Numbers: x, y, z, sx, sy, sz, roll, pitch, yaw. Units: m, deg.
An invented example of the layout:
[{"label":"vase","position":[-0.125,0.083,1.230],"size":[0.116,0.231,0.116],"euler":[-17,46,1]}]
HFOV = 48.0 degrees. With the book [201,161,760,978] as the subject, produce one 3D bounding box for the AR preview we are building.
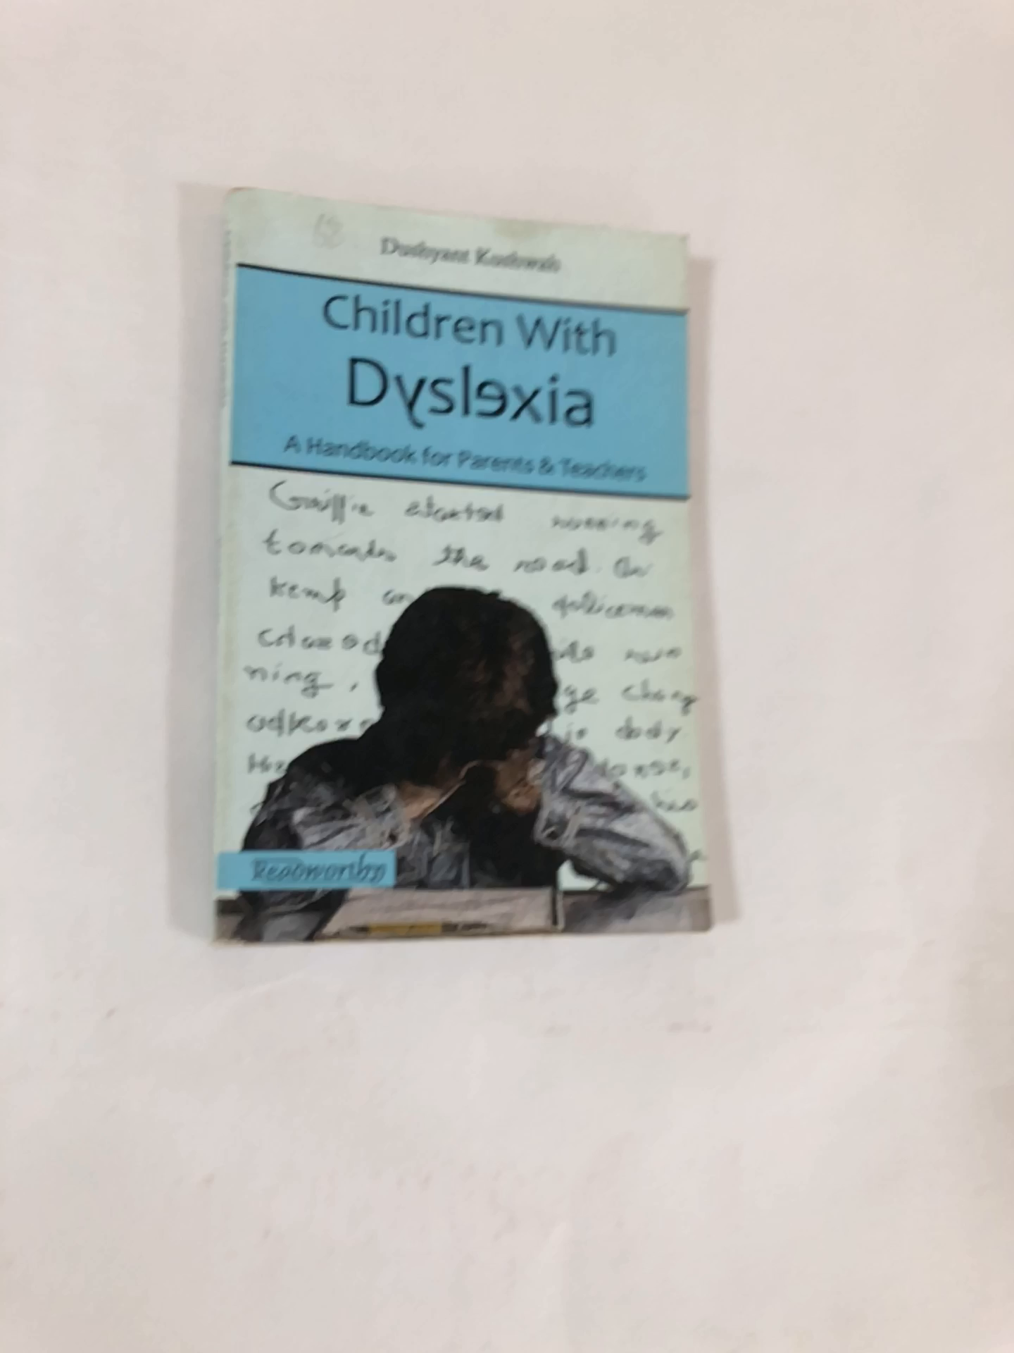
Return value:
[{"label":"book","position":[-0.008,-0.031,0.331],"size":[0.150,0.030,0.220],"euler":[1,81,-13]}]
